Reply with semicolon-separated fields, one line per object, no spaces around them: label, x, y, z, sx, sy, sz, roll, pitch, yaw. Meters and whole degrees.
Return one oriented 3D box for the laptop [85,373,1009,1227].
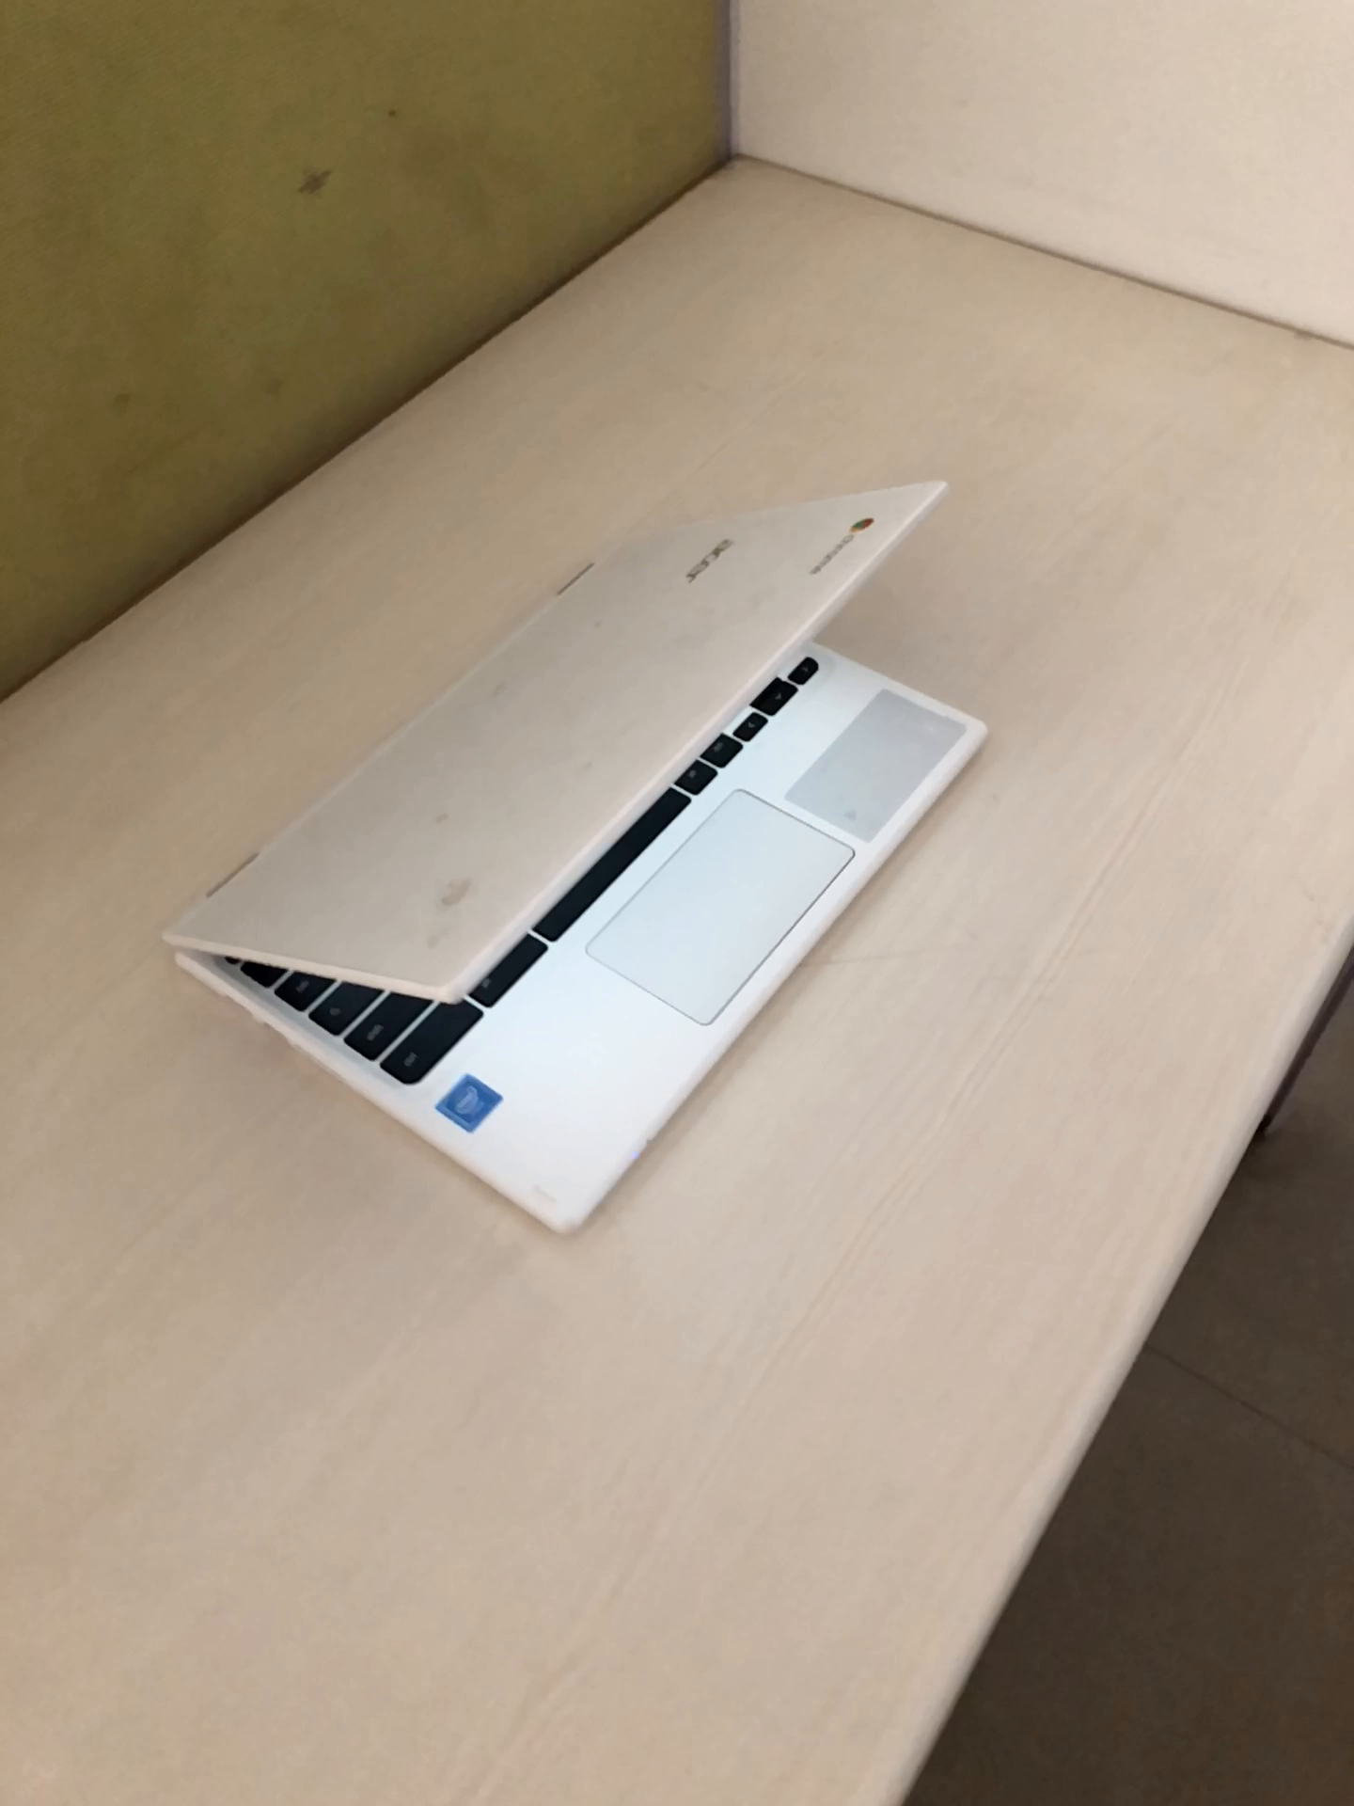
laptop;-0.034;-0.059;0.583;0.196;0.105;0.291;30;58;21
